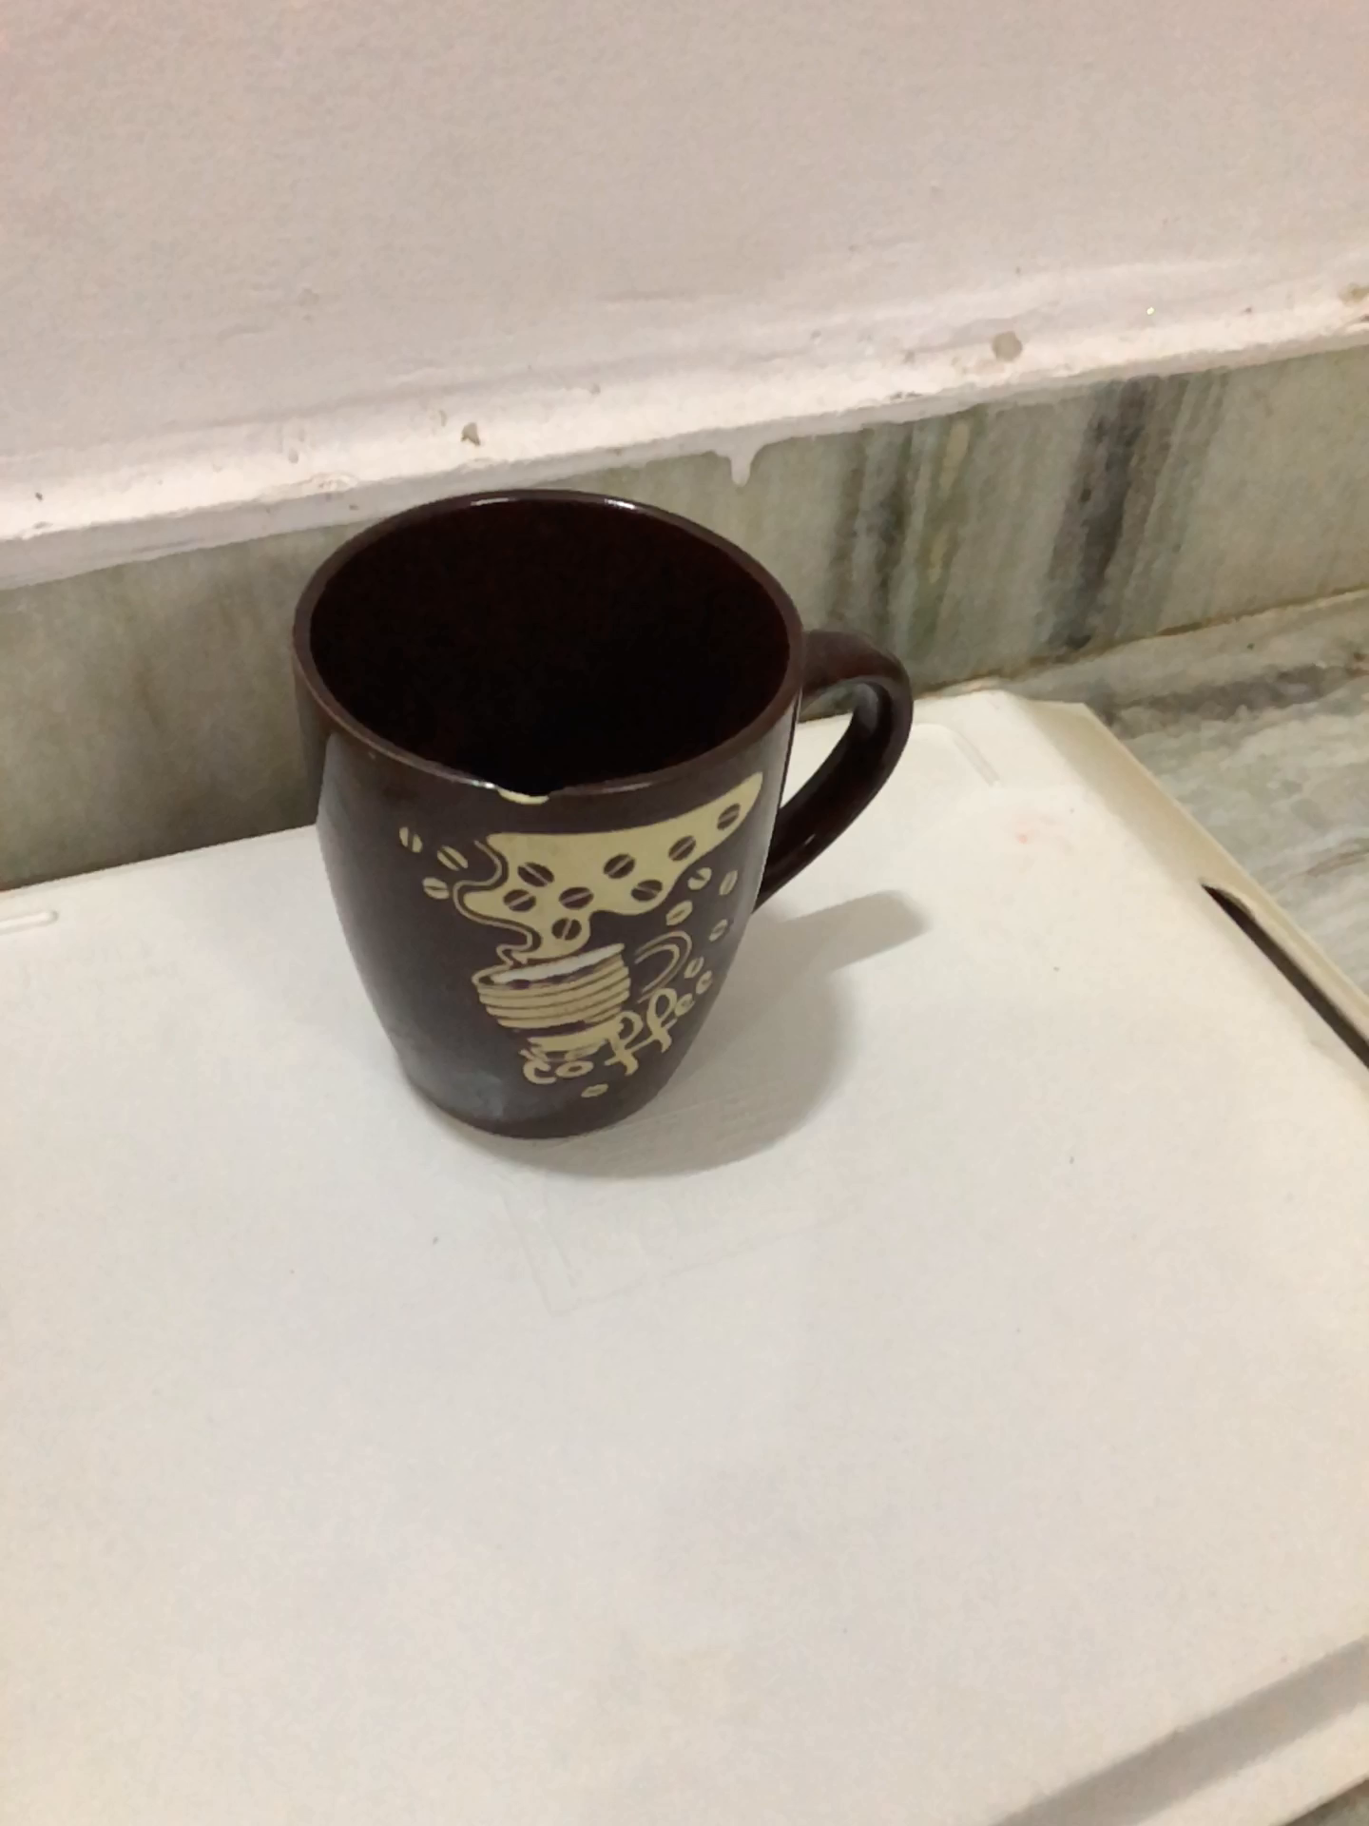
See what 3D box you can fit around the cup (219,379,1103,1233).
[{"bbox_3d":[-0.006,-0.023,0.272,0.120,0.099,0.070,-22,50,-26],"label":"cup"}]
